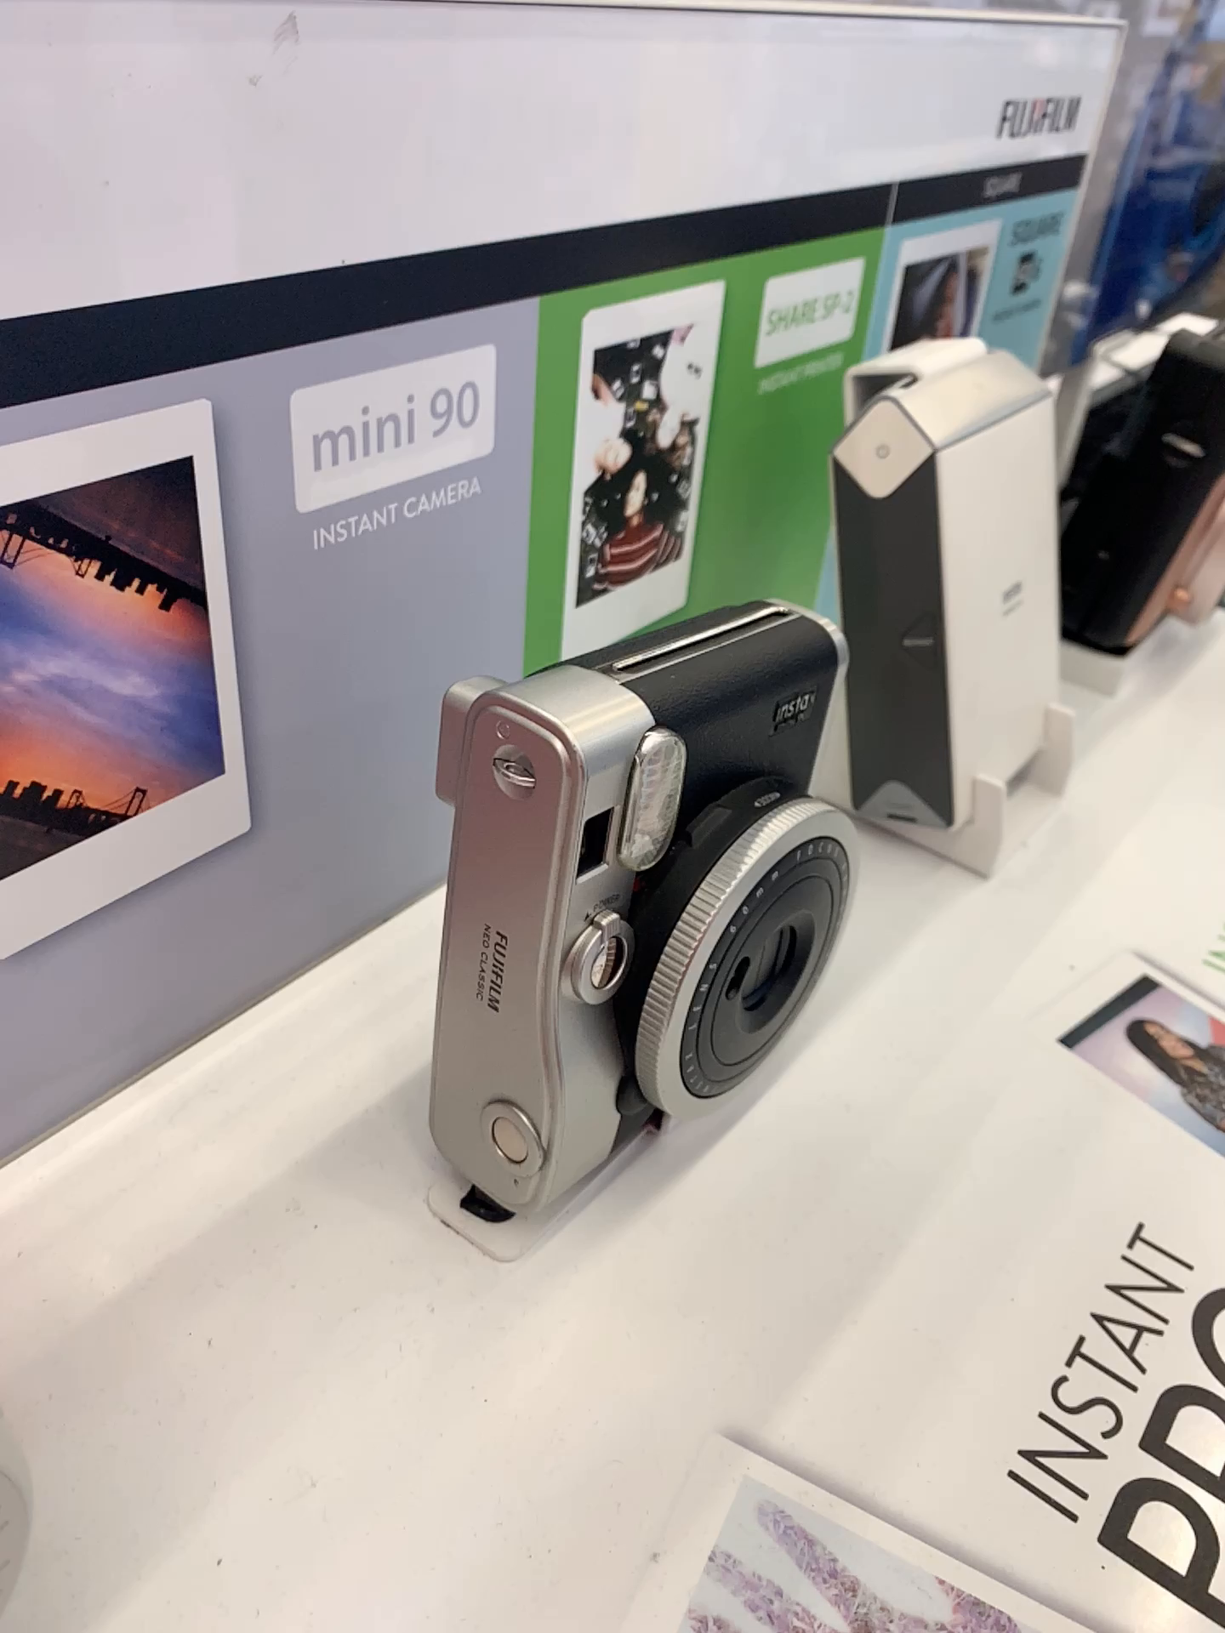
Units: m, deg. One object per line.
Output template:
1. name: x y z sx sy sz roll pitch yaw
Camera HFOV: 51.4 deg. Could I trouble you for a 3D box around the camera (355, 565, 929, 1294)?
1. camera: 0.005 0.017 0.262 0.050 0.109 0.101 30 37 31
